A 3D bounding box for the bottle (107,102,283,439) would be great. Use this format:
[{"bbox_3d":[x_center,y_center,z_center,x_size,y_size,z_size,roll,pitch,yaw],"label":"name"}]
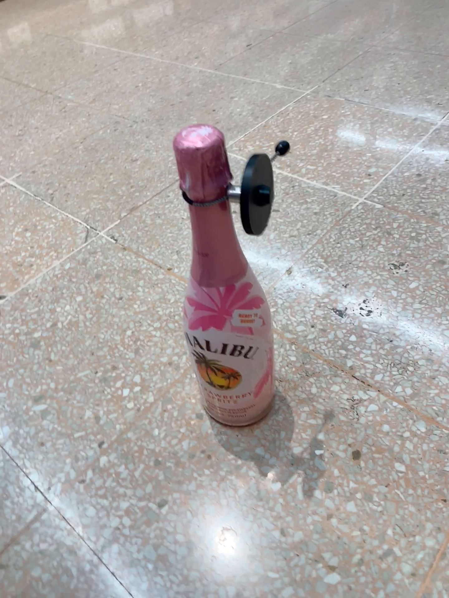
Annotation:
[{"bbox_3d":[-0.002,0.002,0.399,0.080,0.307,0.081,-4,46,5],"label":"bottle"}]
